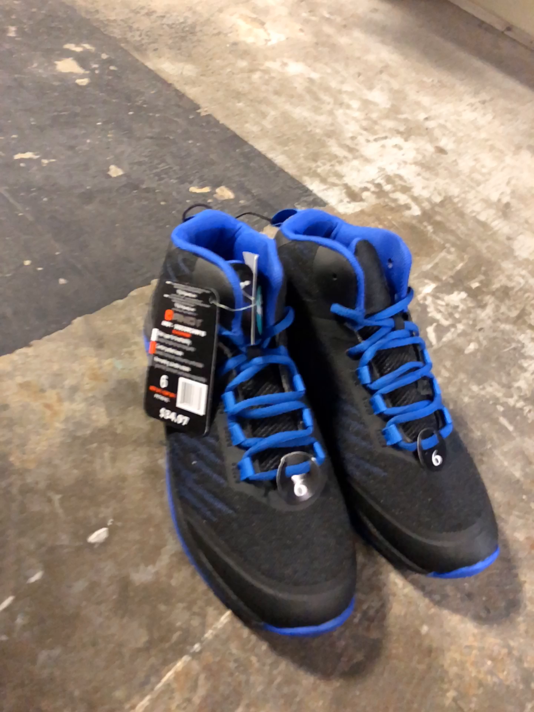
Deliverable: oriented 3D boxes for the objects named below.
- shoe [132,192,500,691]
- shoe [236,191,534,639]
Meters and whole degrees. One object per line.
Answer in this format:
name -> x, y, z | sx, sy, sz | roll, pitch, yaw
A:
shoe -> -0.001, 0.034, 0.317 | 0.100, 0.119, 0.221 | -10, 55, -18
shoe -> 0.083, 0.025, 0.369 | 0.110, 0.119, 0.231 | -16, 58, -22
